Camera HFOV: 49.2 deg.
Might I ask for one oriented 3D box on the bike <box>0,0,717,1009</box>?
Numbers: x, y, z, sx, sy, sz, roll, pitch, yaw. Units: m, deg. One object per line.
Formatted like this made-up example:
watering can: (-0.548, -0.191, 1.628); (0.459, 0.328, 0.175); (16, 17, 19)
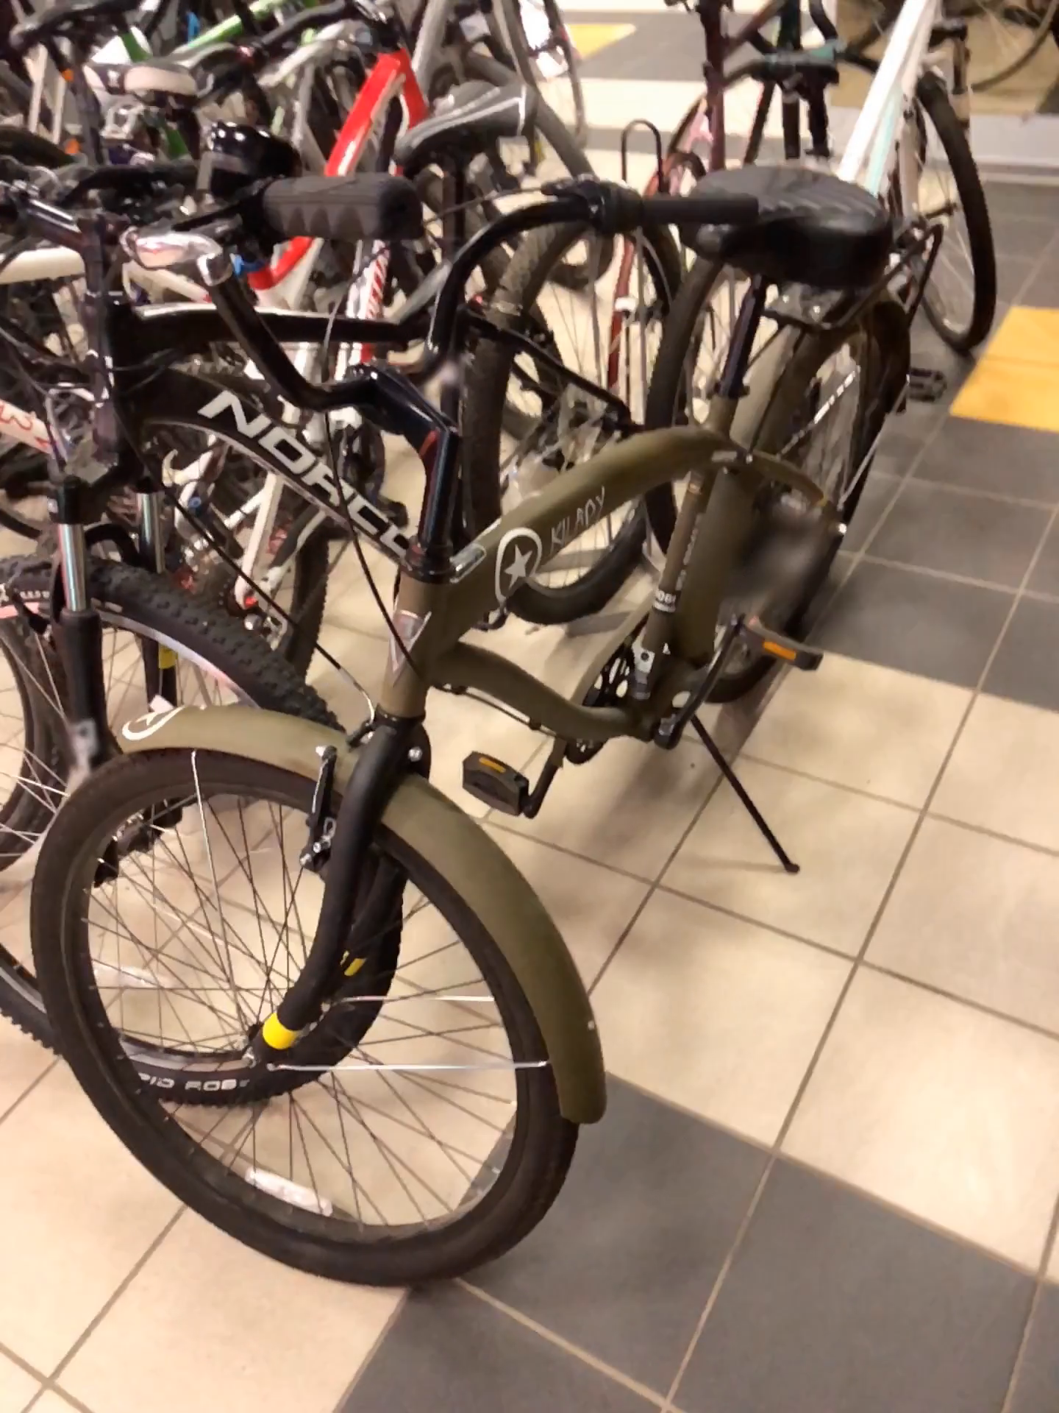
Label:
bike: (-0.362, -0.342, 1.431); (0.665, 1.228, 0.975); (27, 44, 34)

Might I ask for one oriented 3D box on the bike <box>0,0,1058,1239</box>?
bike: (0.073, -0.351, 1.382); (1.498, 1.130, 0.834); (-32, 46, -30)
